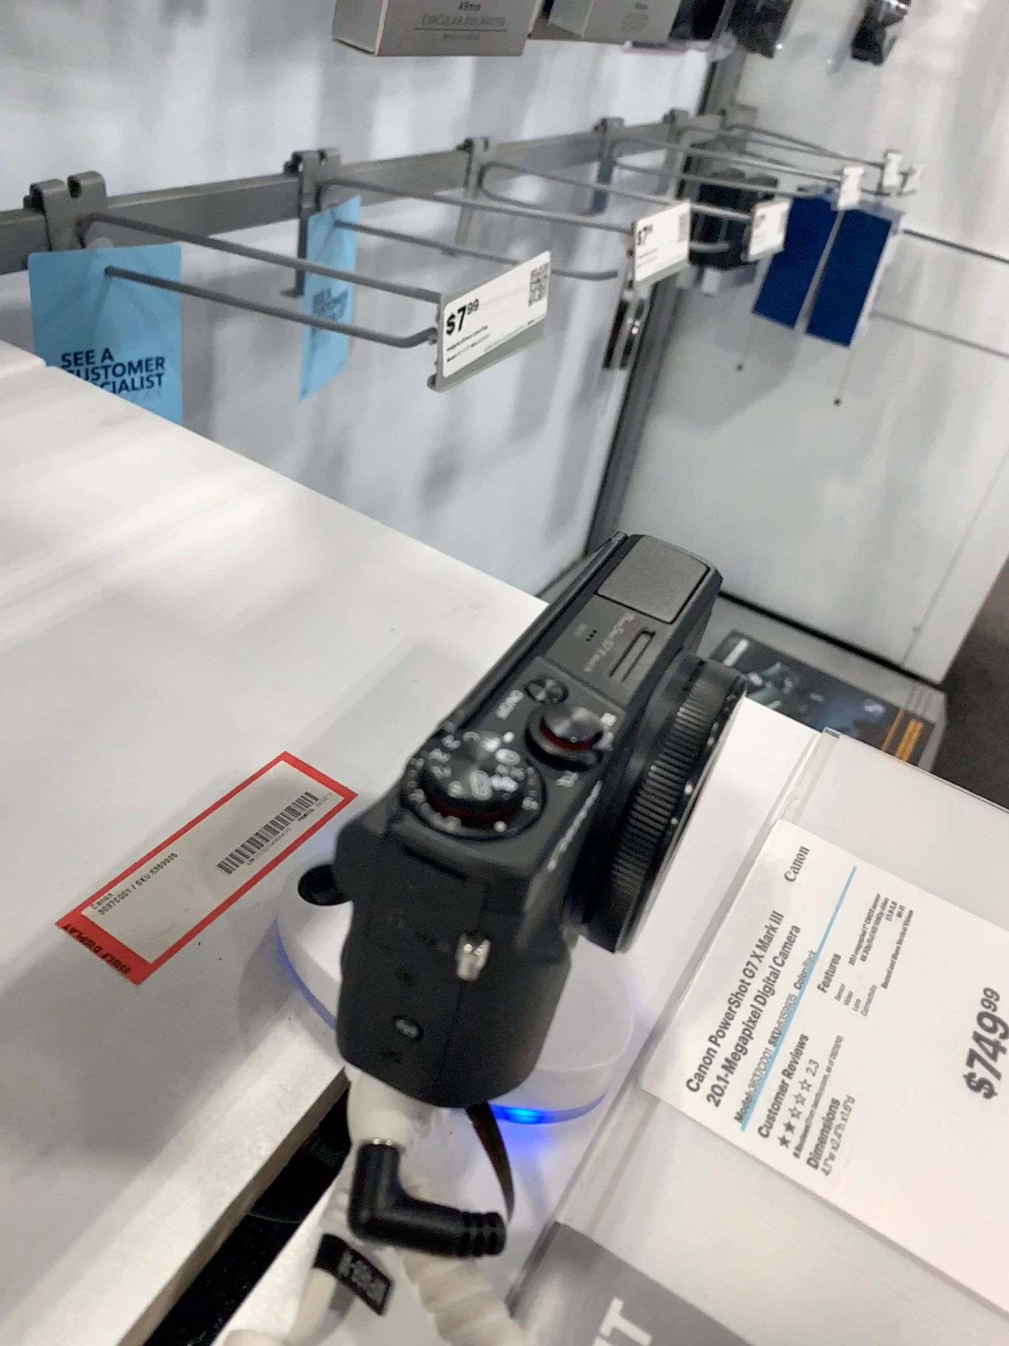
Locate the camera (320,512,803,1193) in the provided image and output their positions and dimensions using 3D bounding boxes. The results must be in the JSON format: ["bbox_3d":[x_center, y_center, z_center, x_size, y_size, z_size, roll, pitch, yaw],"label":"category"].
[{"bbox_3d":[0.015,0.024,0.195,0.040,0.062,0.111,23,37,14],"label":"camera"}]
